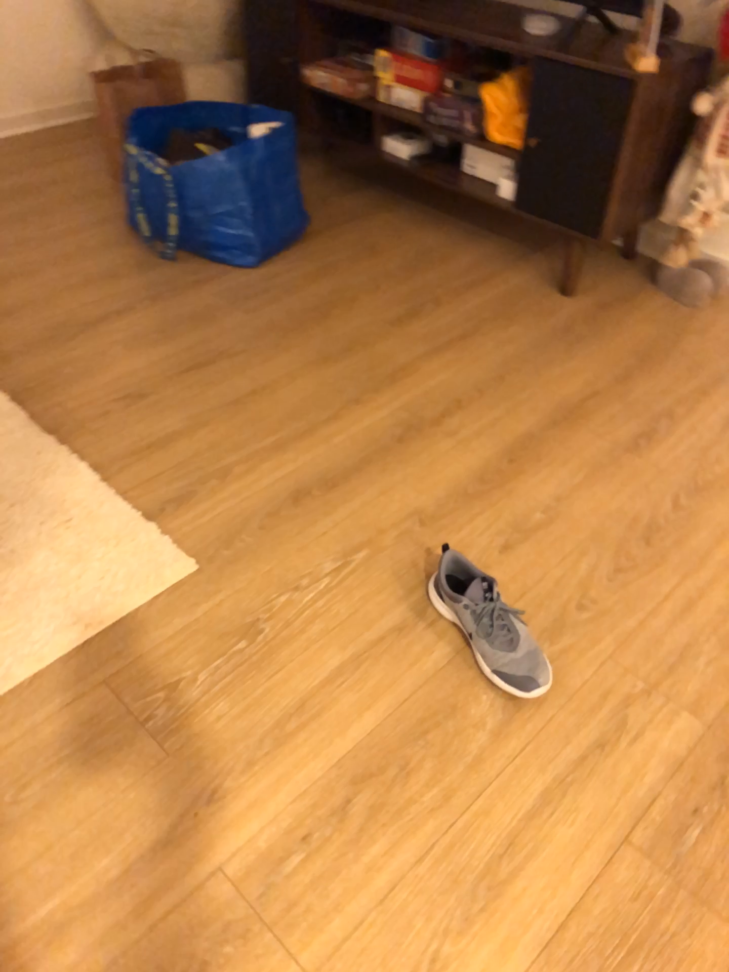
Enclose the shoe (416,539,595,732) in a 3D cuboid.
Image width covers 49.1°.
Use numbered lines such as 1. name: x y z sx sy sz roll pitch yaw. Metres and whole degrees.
1. shoe: 0.225 0.239 1.337 0.140 0.089 0.301 -18 45 -21
